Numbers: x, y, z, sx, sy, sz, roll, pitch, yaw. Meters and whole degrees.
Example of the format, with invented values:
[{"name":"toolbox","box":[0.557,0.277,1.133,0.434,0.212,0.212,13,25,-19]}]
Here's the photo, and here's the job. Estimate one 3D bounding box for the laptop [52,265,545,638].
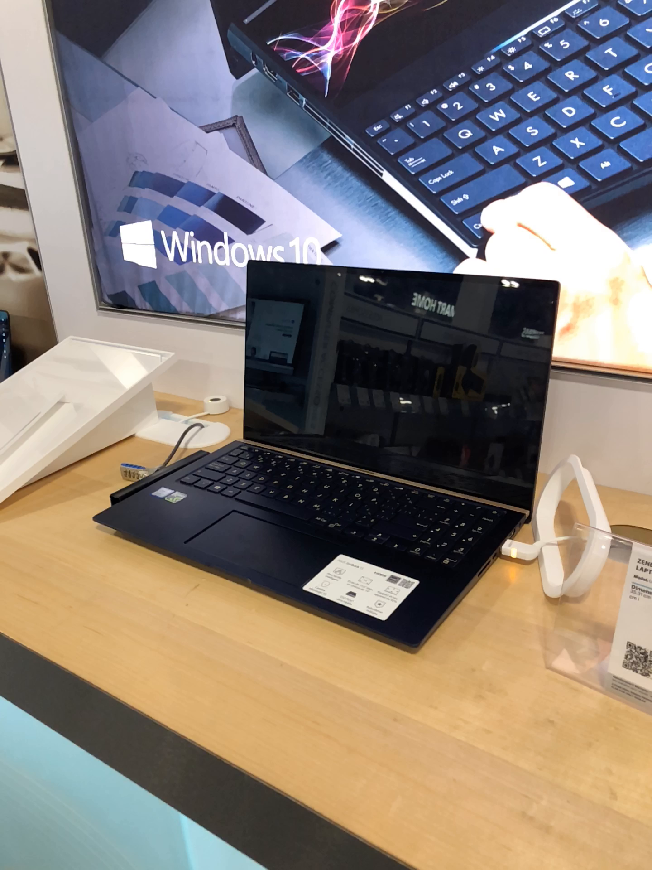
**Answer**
[{"name":"laptop","box":[-0.019,-0.024,0.642,0.337,0.196,0.250,13,27,35]}]
